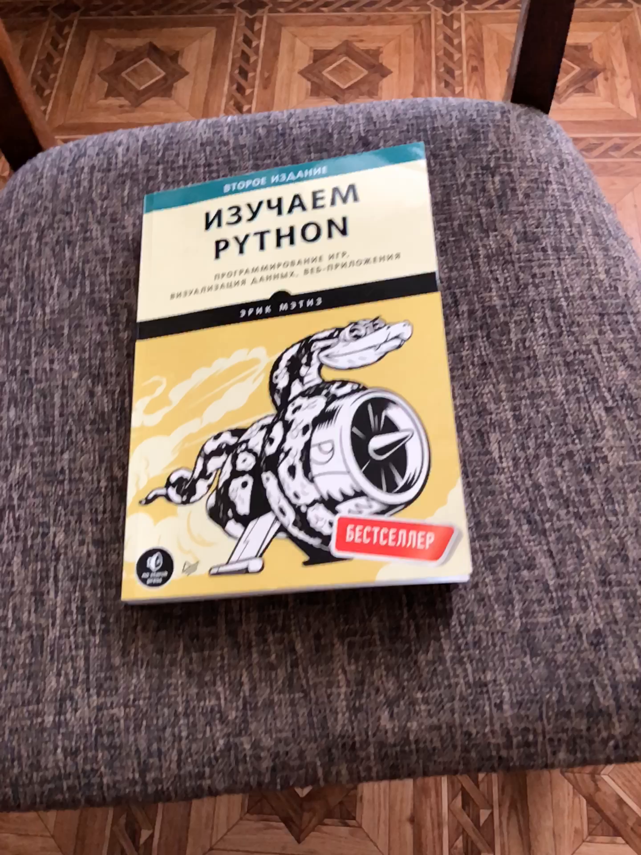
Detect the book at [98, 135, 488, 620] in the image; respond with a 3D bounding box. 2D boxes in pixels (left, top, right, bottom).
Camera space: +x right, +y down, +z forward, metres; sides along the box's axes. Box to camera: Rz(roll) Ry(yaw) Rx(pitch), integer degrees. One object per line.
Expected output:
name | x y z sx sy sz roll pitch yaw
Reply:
book | -0.015 -0.029 0.357 0.168 0.040 0.233 -6 67 11
